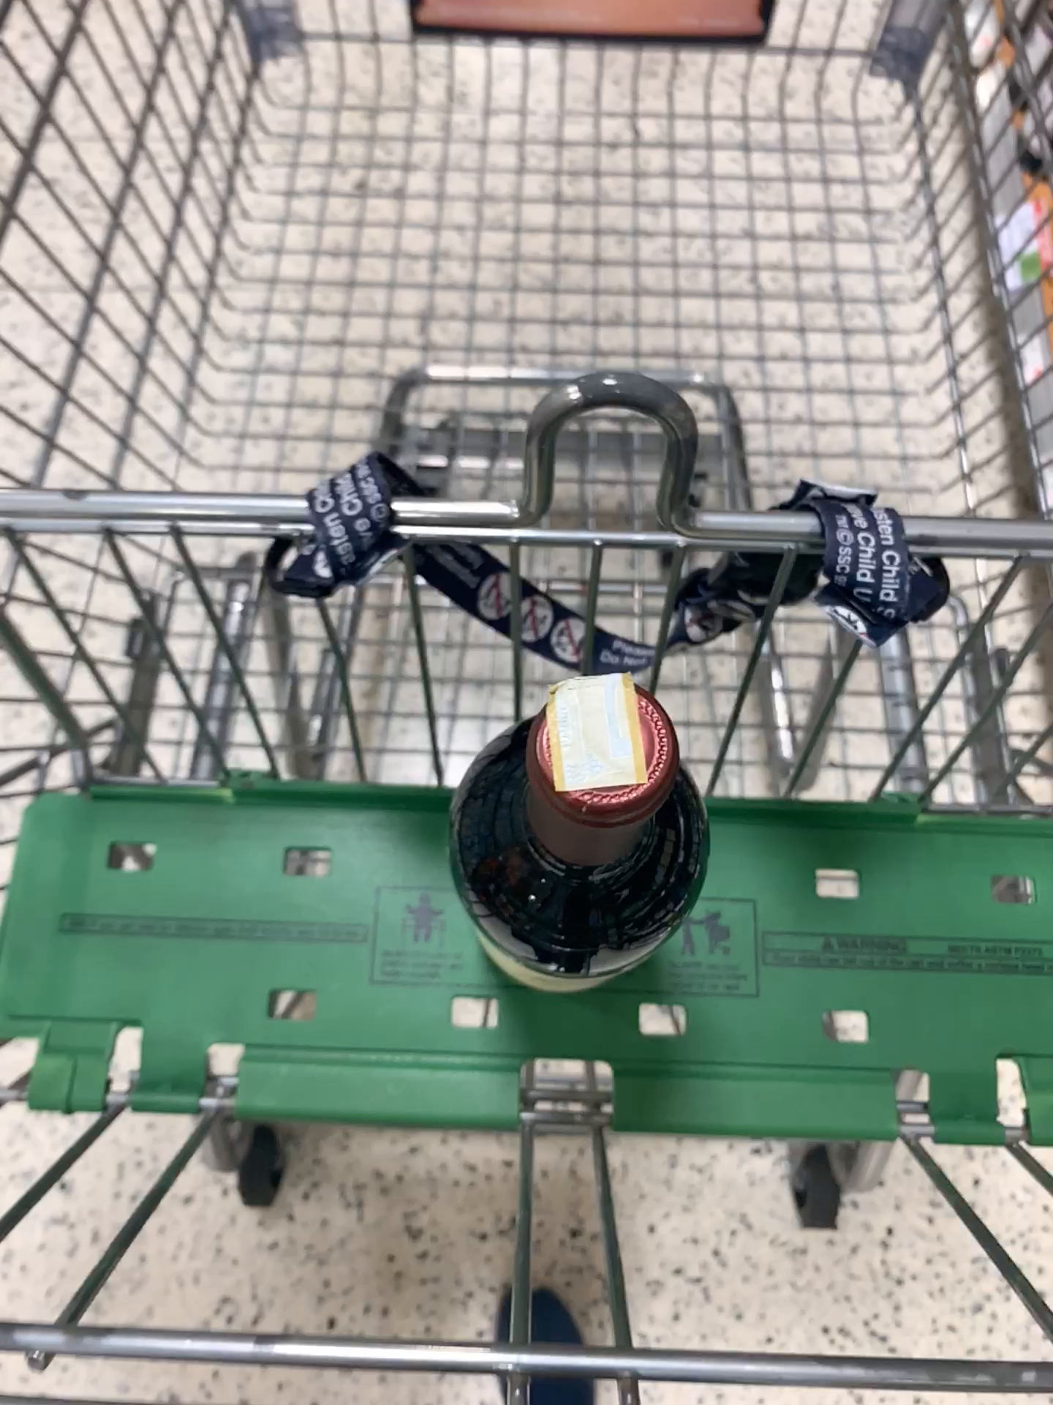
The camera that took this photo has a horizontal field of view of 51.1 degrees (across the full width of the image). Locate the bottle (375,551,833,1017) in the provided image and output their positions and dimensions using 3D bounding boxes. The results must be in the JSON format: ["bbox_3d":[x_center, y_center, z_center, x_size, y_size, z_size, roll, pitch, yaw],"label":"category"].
[{"bbox_3d":[0.013,0.049,0.333,0.080,0.269,0.080,0,73,0],"label":"bottle"}]
